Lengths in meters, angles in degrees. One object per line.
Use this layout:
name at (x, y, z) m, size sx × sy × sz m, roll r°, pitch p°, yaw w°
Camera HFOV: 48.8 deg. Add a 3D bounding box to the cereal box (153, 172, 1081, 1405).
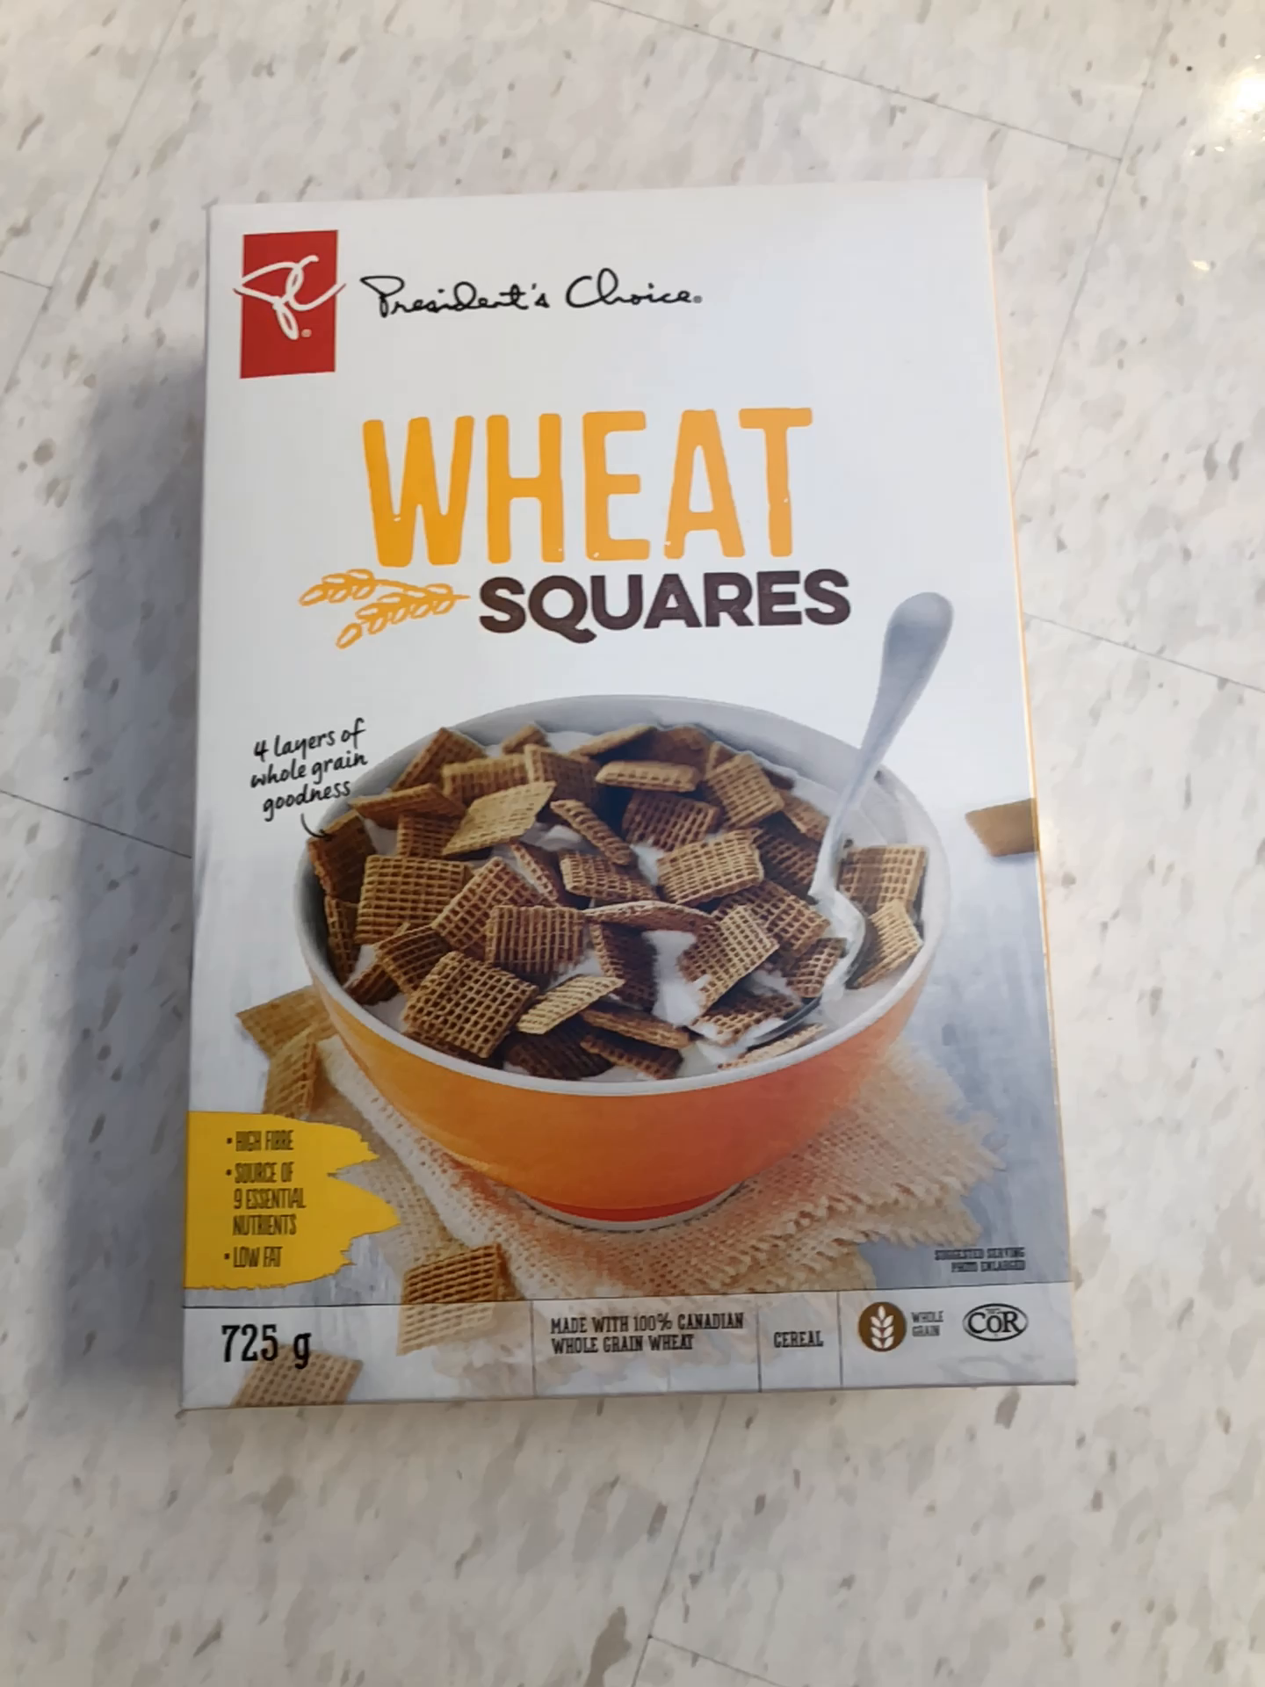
cereal box at (-0.007, -0.017, 0.366) m, size 0.200 × 0.080 × 0.290 m, roll -2°, pitch 79°, yaw 0°
